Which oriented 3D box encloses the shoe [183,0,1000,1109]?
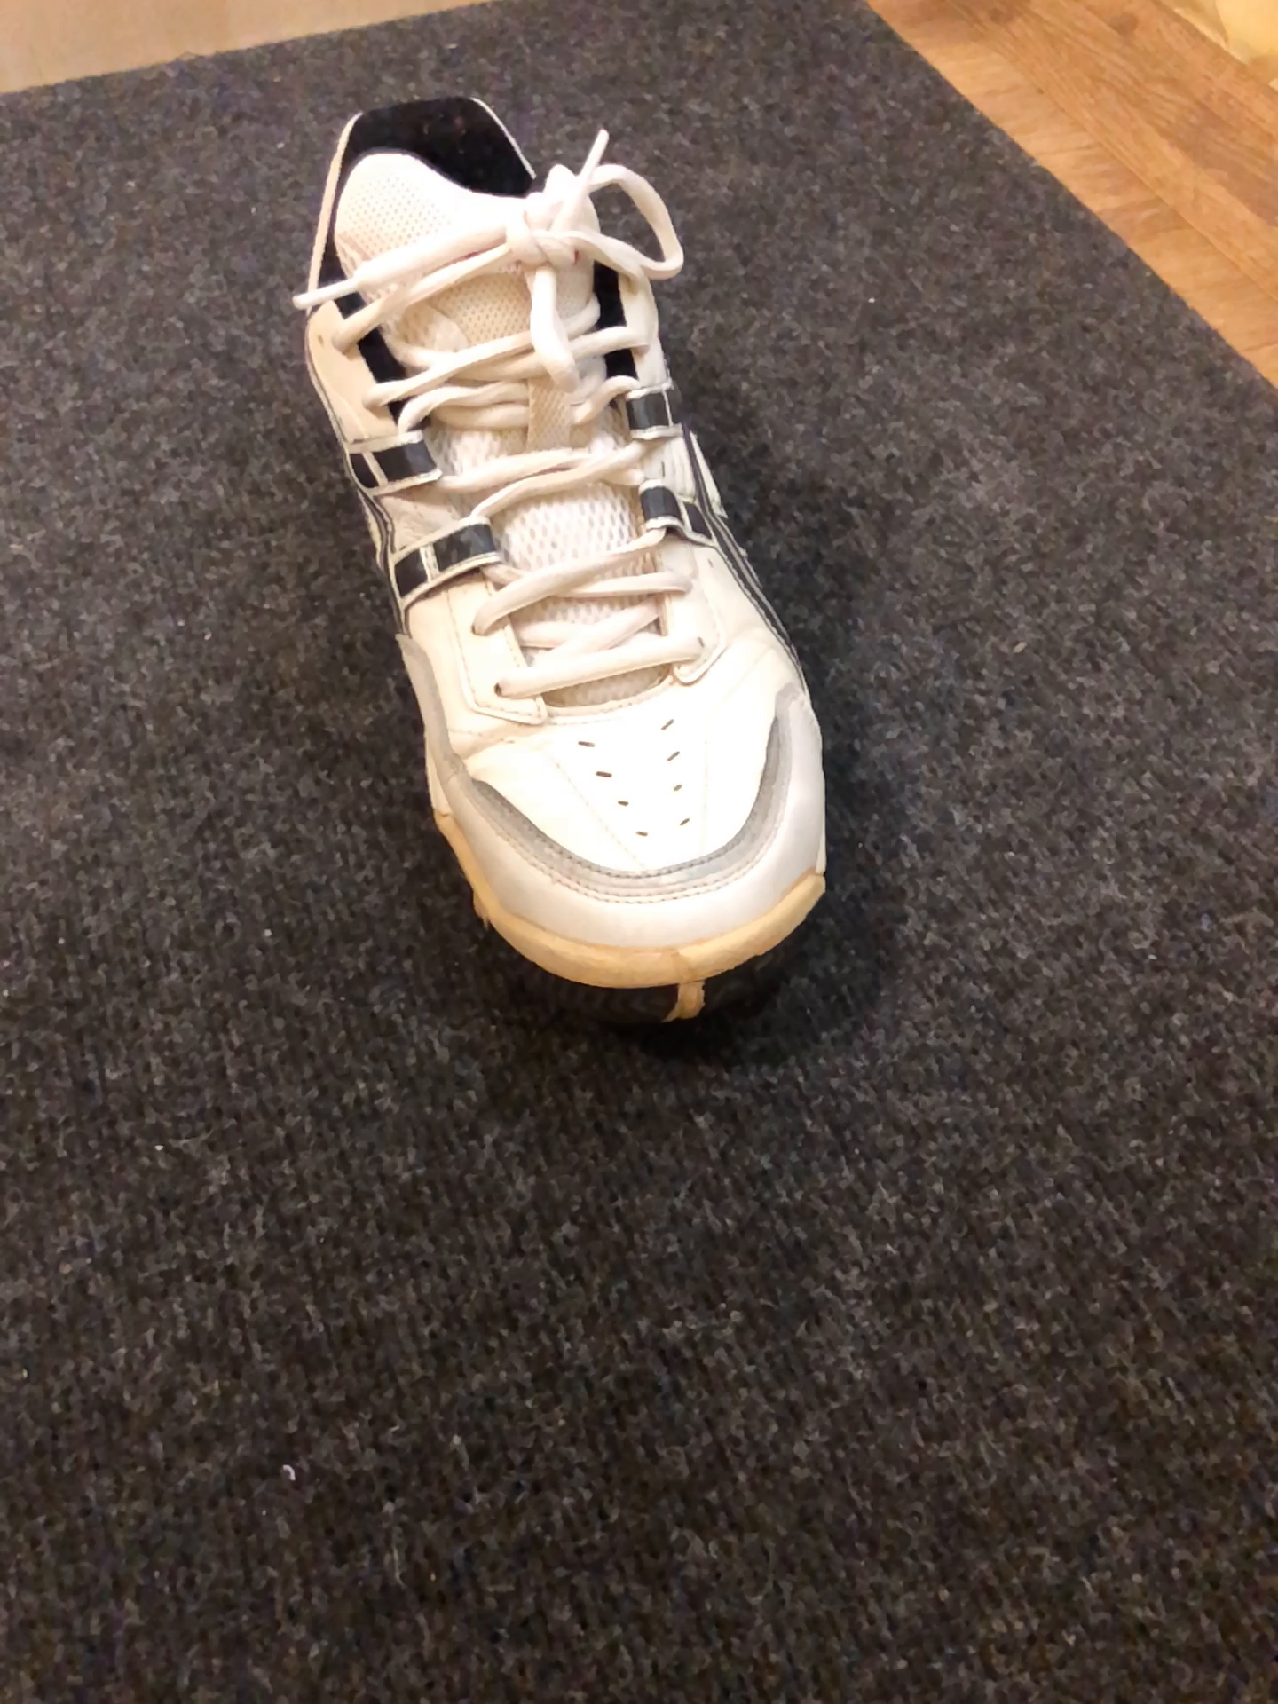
[{"bbox_3d":[-0.031,-0.094,0.350,0.100,0.100,0.281,-15,54,-11],"label":"shoe"}]
